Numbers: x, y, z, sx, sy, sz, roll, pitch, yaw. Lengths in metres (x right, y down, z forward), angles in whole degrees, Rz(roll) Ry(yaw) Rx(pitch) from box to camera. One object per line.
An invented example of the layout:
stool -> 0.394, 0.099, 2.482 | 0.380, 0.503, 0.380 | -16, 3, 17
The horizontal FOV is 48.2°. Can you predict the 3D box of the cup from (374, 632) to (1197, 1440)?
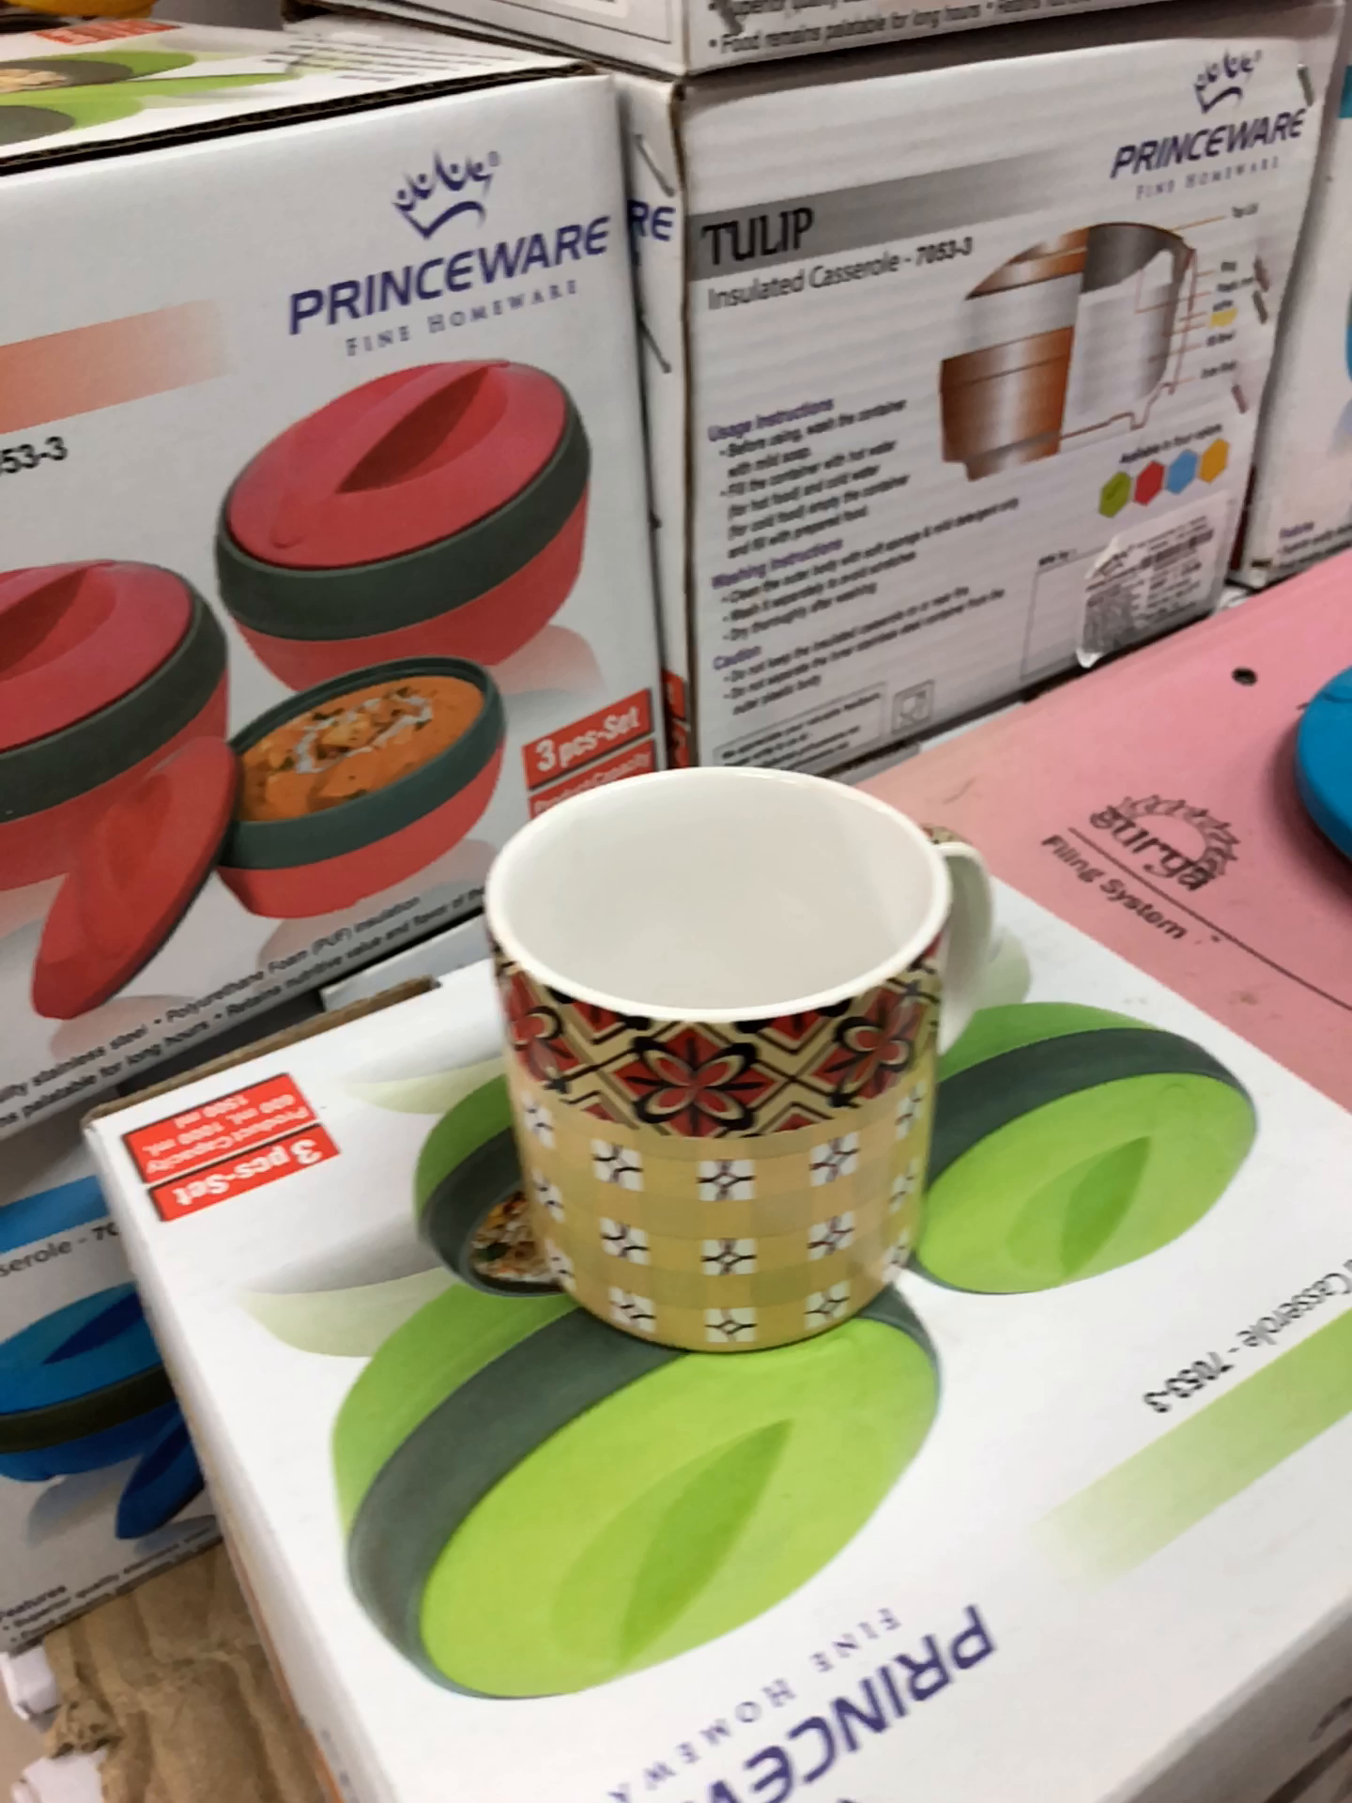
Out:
cup -> 0.019, 0.016, 0.272 | 0.110, 0.079, 0.080 | -23, 38, -27
